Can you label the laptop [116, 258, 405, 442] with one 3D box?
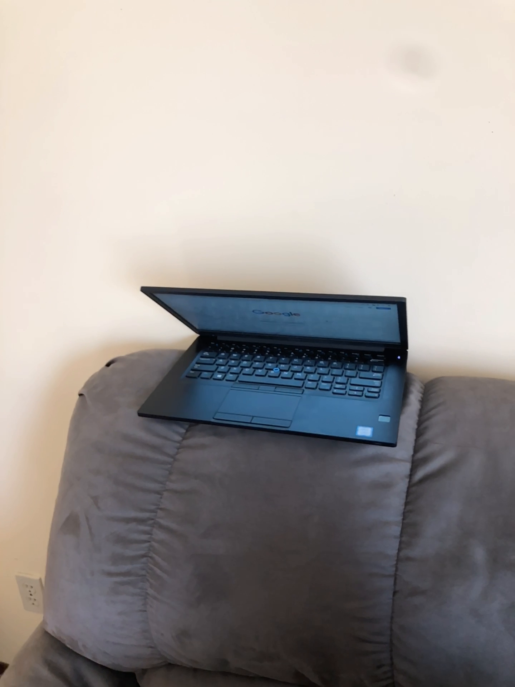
[{"bbox_3d":[0.016,-0.010,0.751,0.321,0.128,0.214,4,27,17],"label":"laptop"}]
